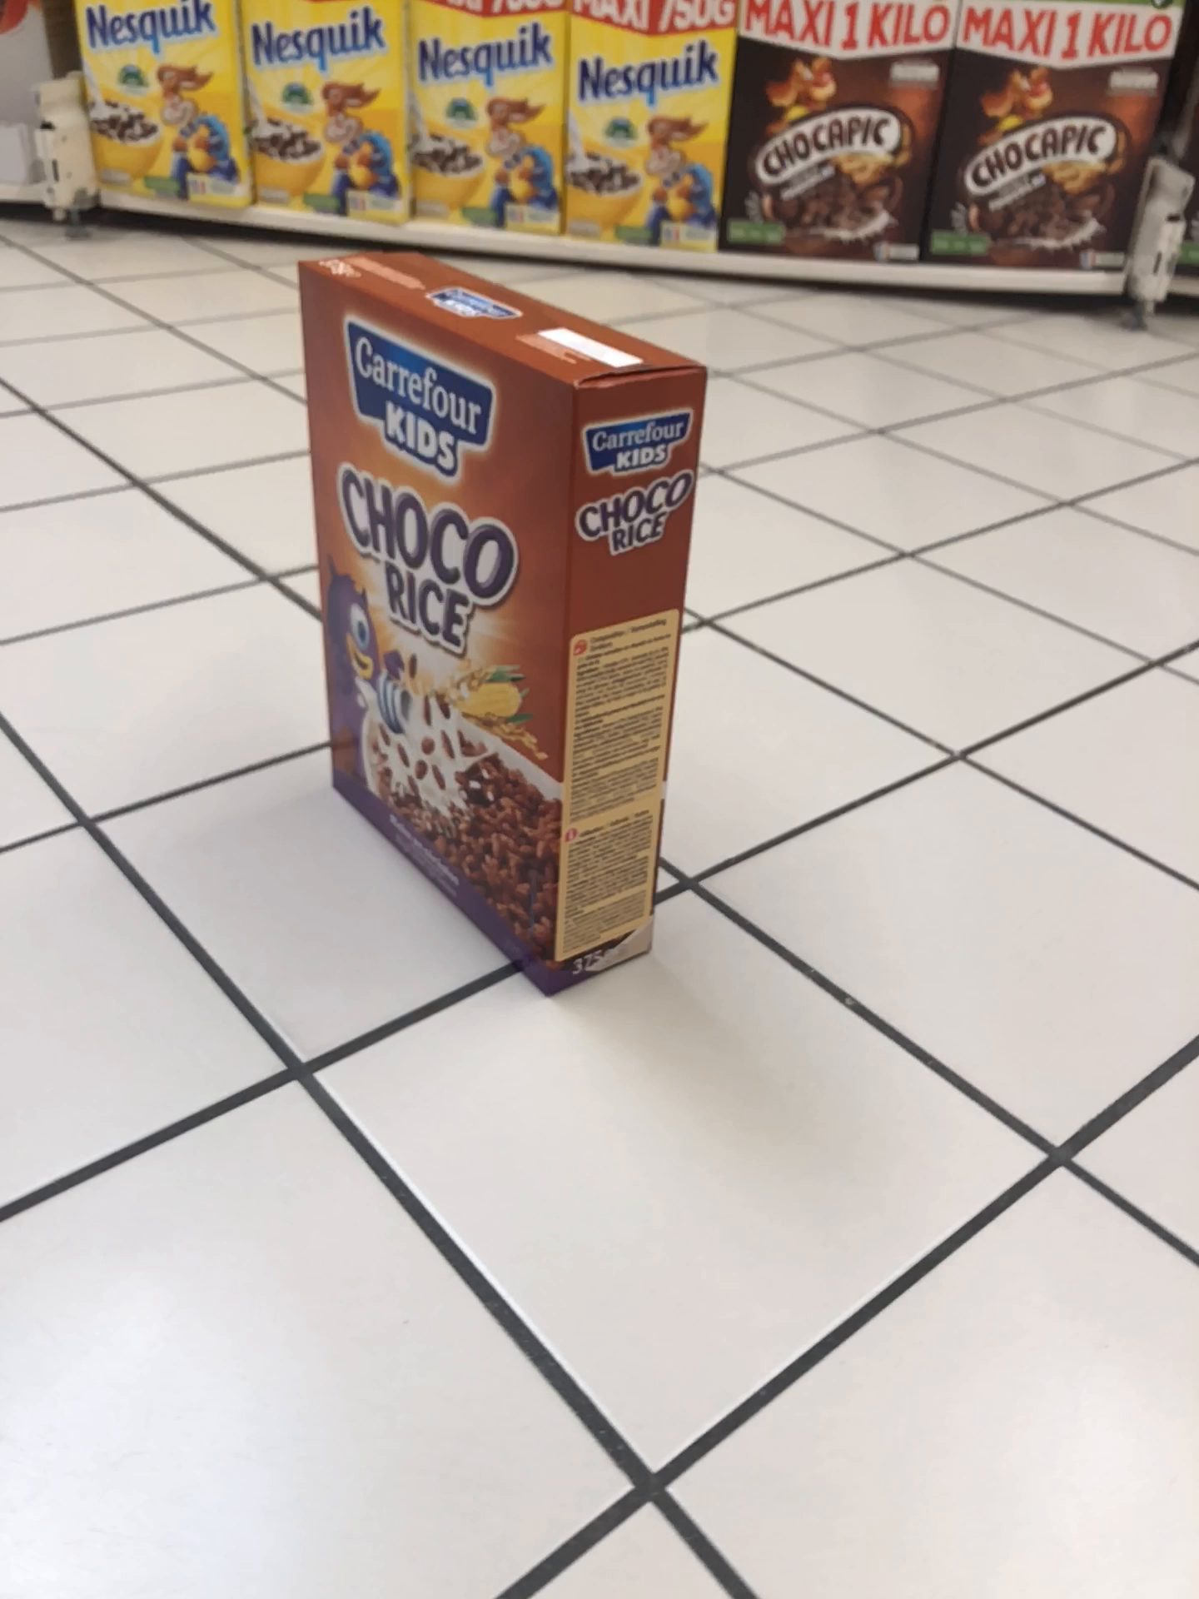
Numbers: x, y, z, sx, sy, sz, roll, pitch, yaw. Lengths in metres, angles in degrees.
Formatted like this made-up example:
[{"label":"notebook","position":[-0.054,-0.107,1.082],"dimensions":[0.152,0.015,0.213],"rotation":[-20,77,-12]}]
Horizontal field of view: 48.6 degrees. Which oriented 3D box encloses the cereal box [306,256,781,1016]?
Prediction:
[{"label":"cereal box","position":[-0.035,-0.073,0.539],"dimensions":[0.070,0.239,0.200],"rotation":[-19,39,-32]}]
